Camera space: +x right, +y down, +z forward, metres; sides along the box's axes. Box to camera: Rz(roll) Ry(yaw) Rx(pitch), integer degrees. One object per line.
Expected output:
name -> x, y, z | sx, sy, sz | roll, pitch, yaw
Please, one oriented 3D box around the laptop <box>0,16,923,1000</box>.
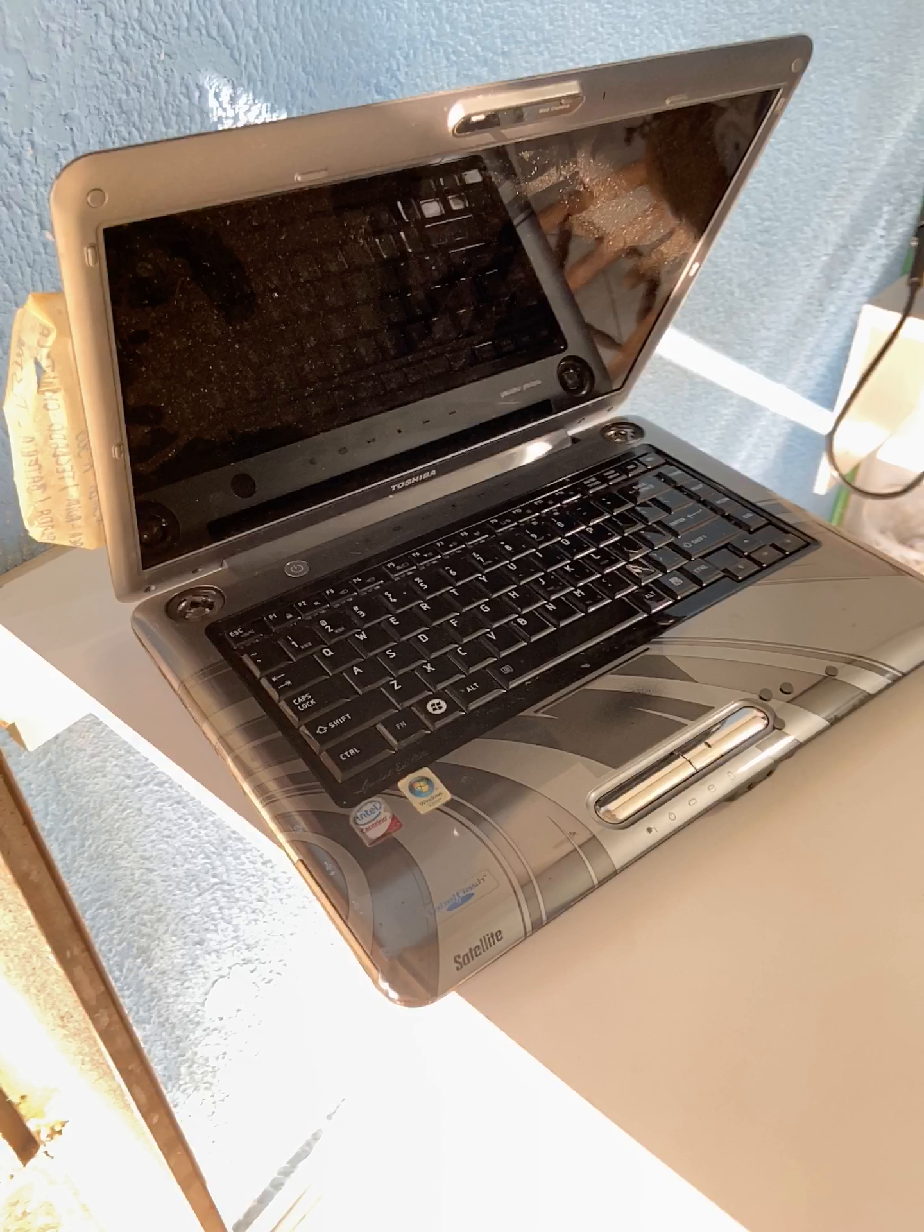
laptop -> 0.049, -0.092, 0.420 | 0.359, 0.235, 0.259 | -25, 46, -26
